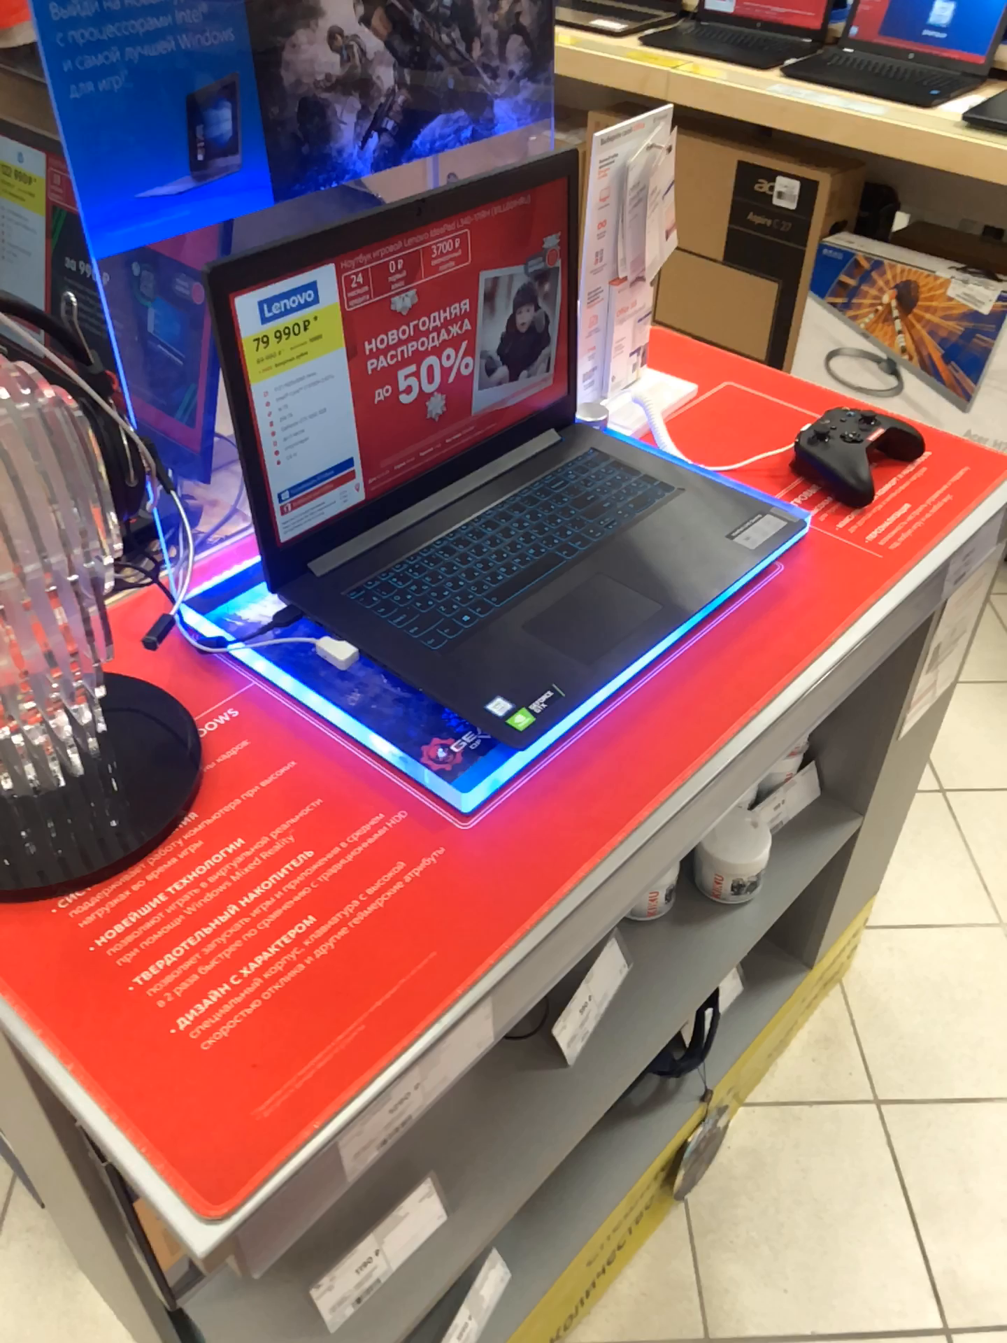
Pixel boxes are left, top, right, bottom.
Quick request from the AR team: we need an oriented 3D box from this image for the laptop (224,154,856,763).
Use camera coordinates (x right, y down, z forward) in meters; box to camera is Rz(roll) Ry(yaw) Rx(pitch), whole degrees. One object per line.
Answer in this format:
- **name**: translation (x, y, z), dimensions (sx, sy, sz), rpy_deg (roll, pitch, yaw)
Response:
- **laptop**: translation (0.036, -0.206, 0.911), dimensions (0.295, 0.255, 0.405), rpy_deg (32, 49, 29)
